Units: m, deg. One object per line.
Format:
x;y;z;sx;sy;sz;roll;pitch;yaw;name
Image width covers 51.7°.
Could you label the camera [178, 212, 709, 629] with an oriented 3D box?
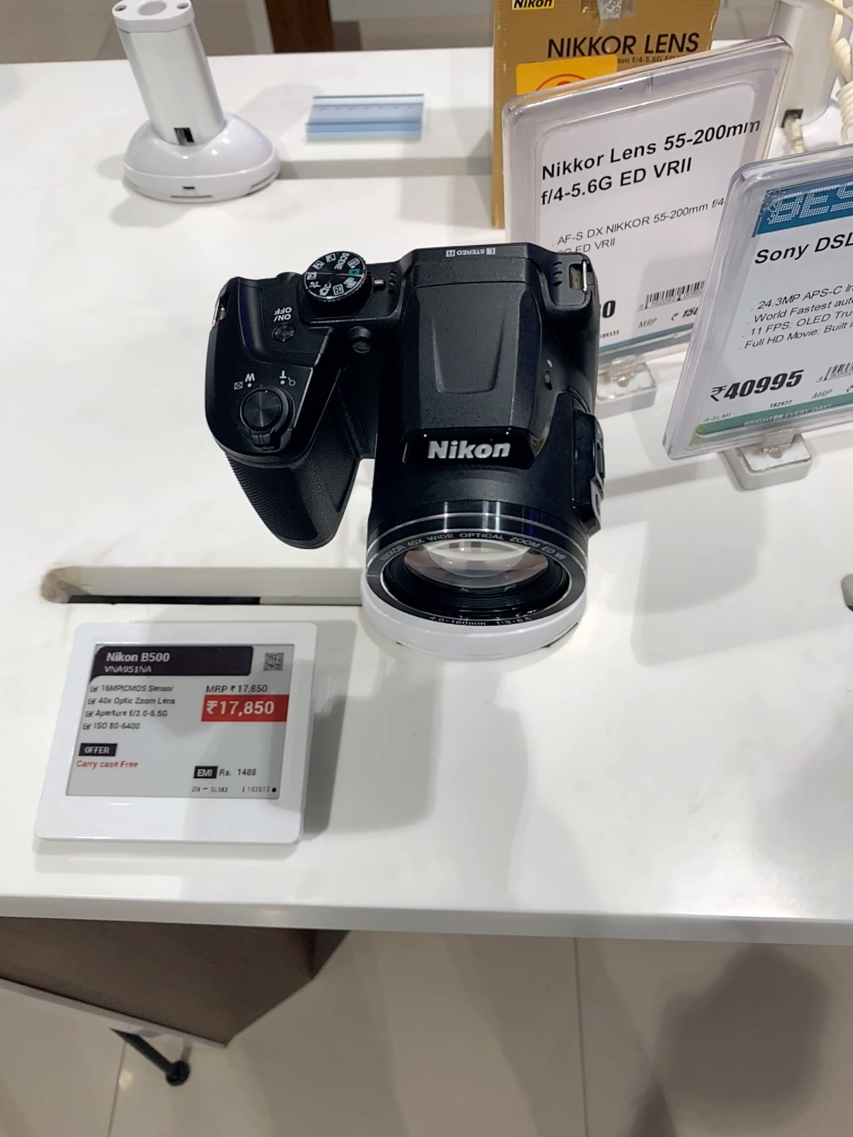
0.006;-0.036;0.236;0.113;0.070;0.083;0;64;4;camera
